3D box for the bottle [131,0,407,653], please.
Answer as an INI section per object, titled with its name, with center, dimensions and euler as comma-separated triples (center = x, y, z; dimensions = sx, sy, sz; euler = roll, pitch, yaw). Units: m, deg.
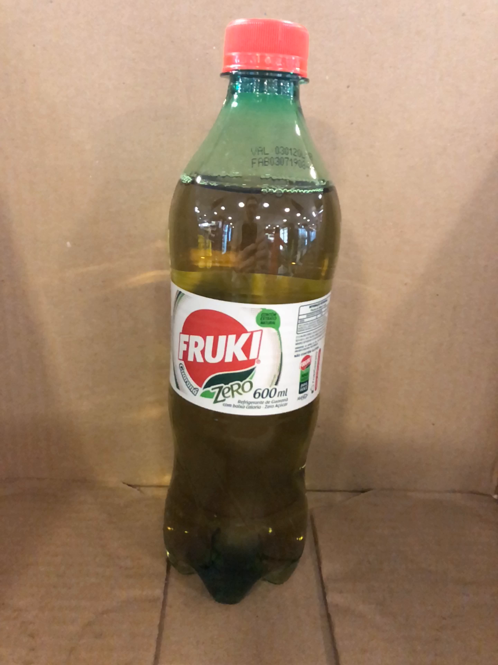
[bottle]
center = 0.006, -0.001, 0.232
dimensions = 0.080, 0.239, 0.080
euler = 3, 19, -1
